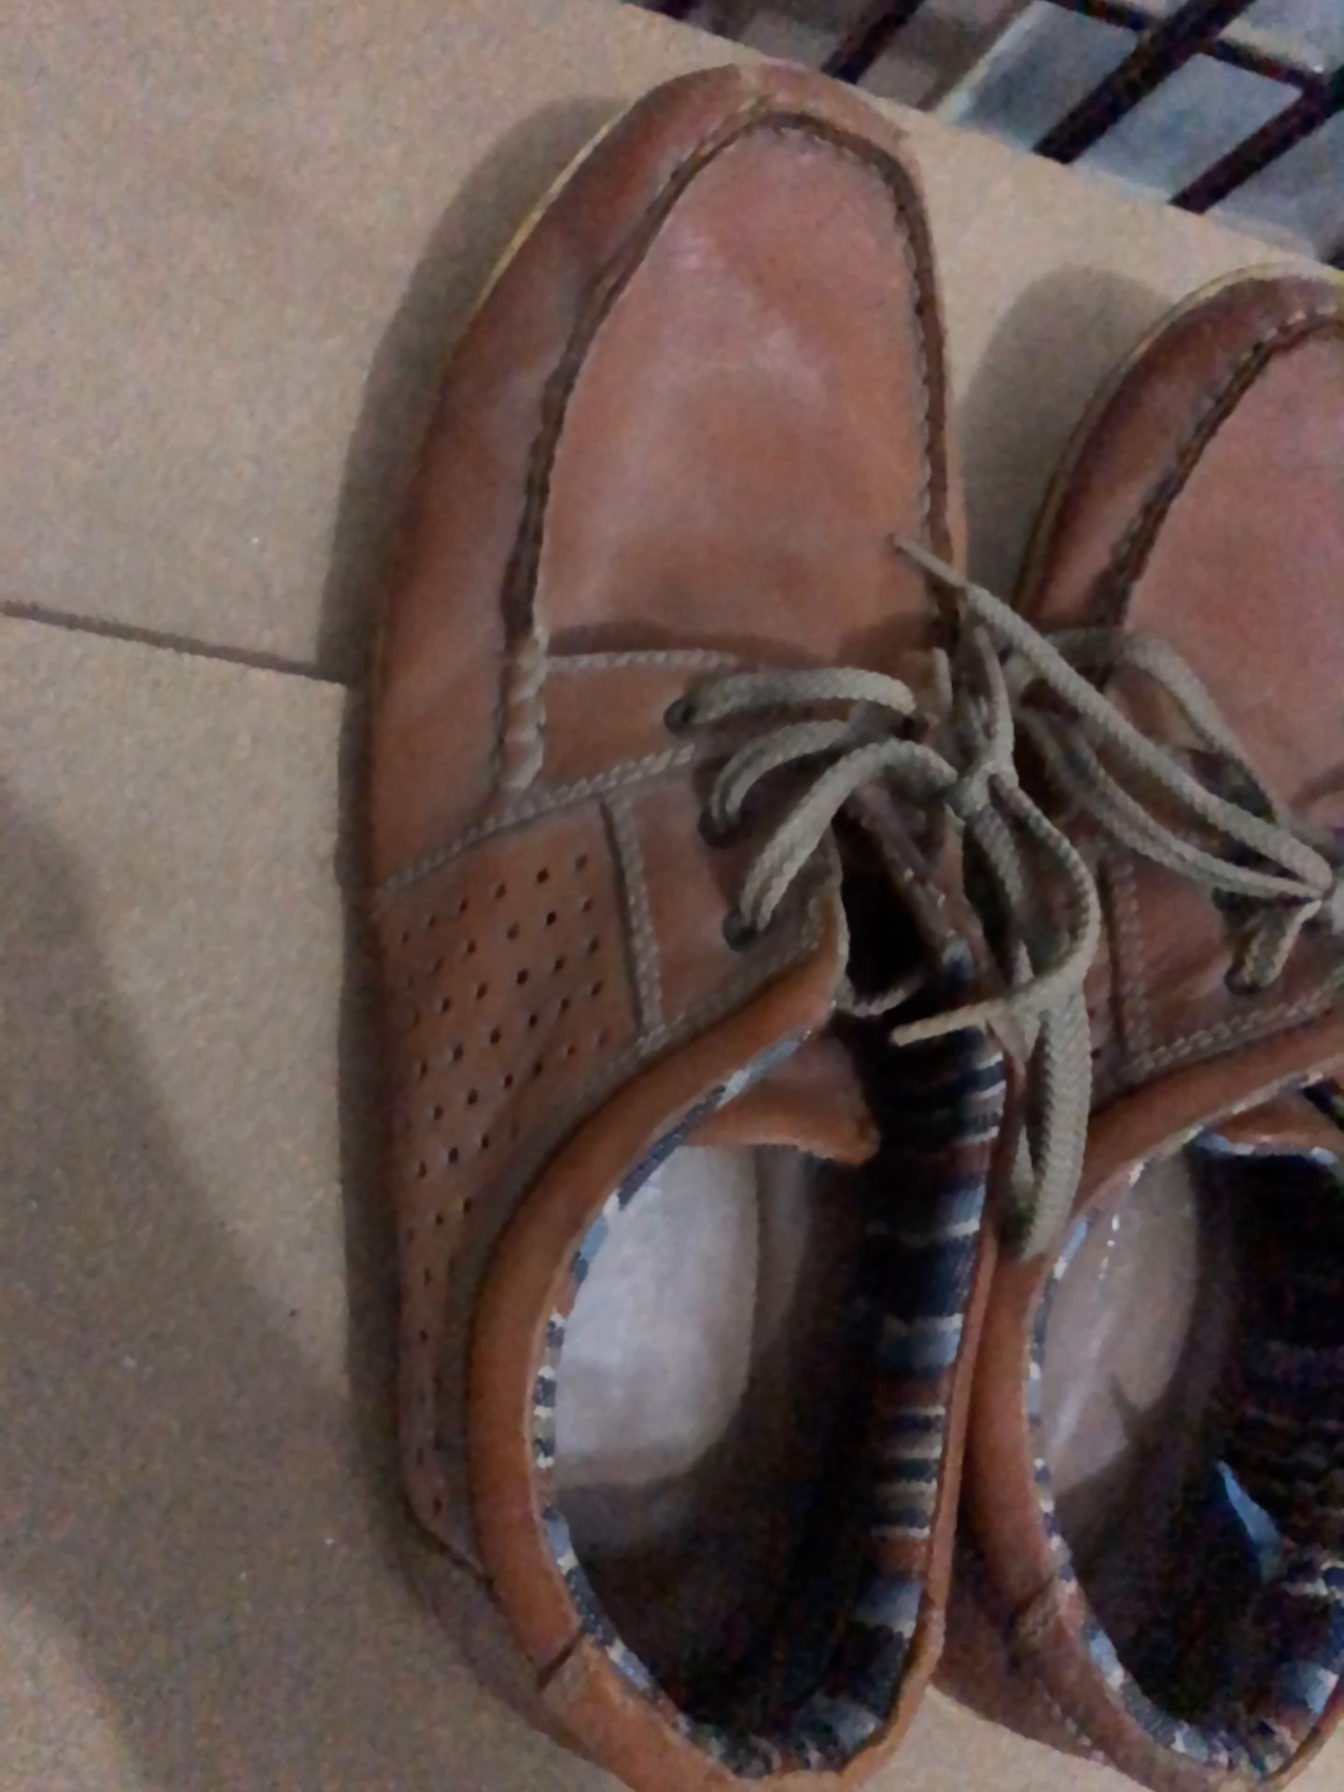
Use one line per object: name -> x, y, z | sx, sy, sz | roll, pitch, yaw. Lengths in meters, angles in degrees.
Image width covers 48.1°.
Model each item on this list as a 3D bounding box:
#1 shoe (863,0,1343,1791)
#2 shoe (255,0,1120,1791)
shoe -> 0.114, 0.002, 0.269 | 0.100, 0.100, 0.280 | 11, 78, -11
shoe -> 0.001, -0.019, 0.242 | 0.100, 0.100, 0.287 | 5, 80, -12
